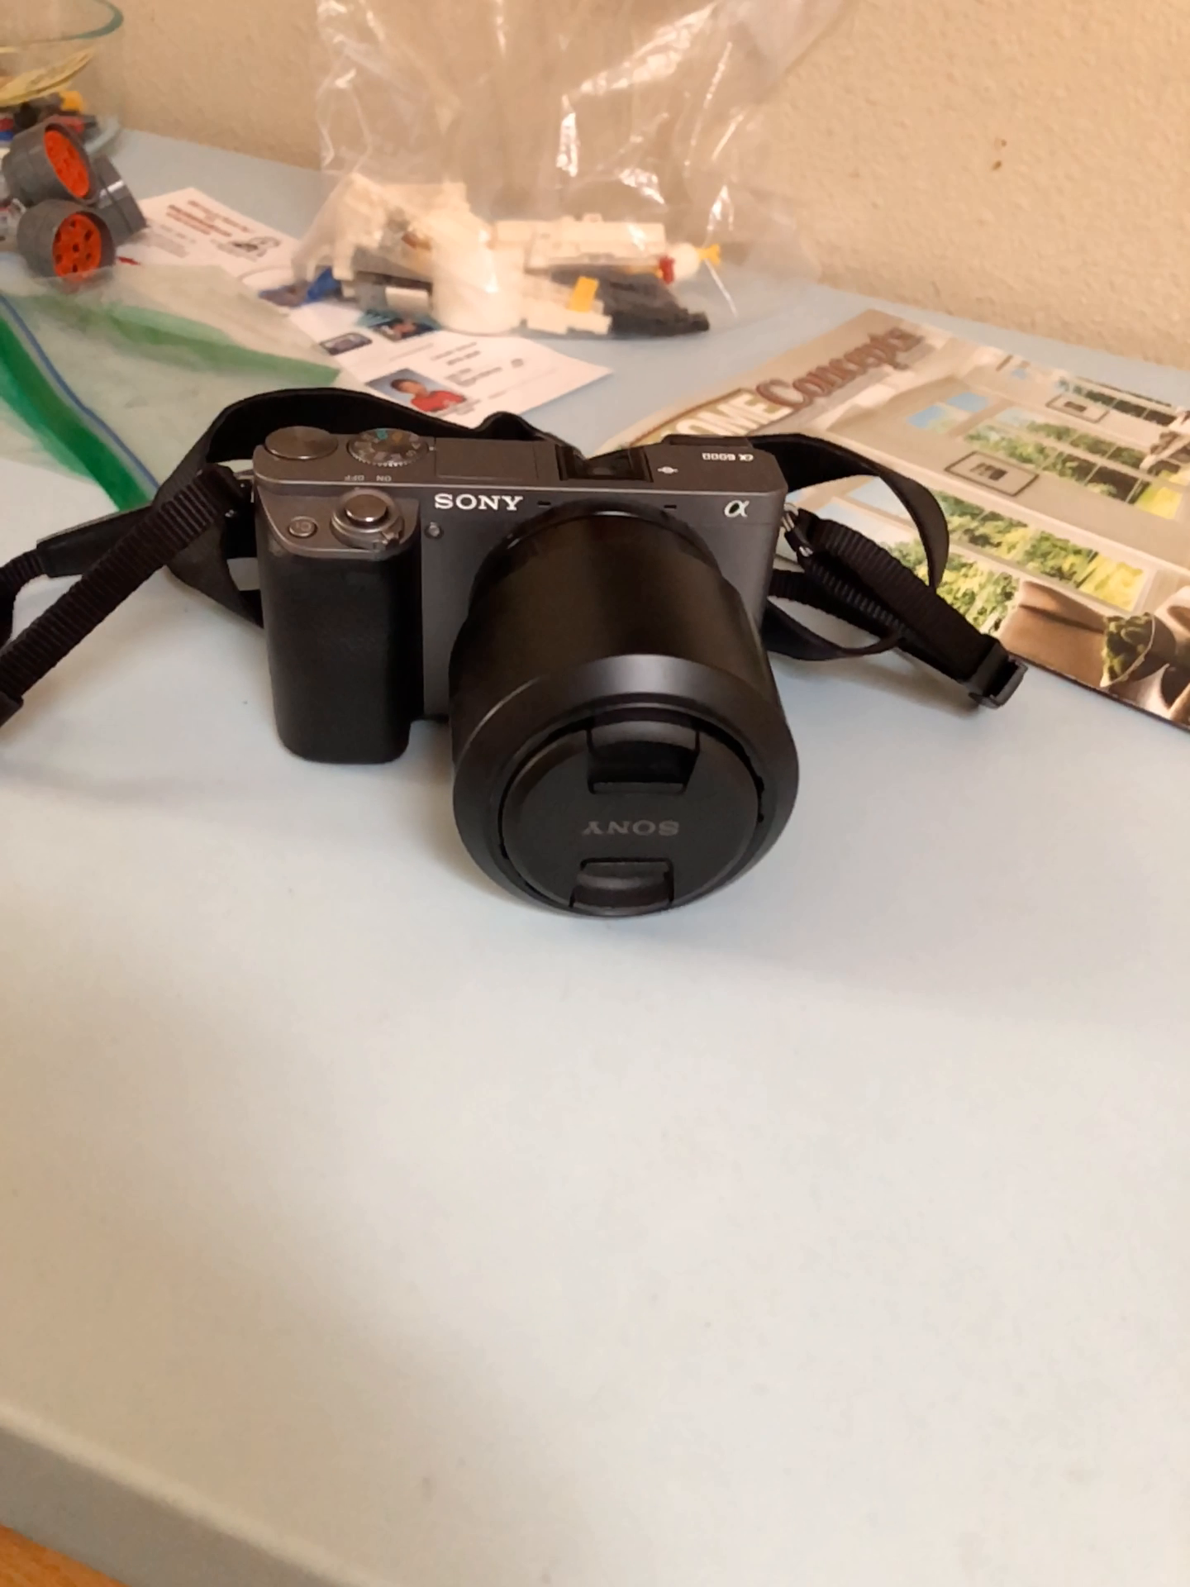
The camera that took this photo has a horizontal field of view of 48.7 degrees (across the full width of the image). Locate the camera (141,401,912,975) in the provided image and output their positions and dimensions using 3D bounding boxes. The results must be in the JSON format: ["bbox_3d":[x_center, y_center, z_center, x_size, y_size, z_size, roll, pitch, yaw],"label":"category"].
[{"bbox_3d":[-0.016,-0.026,0.286,0.130,0.070,0.111,1,40,-6],"label":"camera"}]
